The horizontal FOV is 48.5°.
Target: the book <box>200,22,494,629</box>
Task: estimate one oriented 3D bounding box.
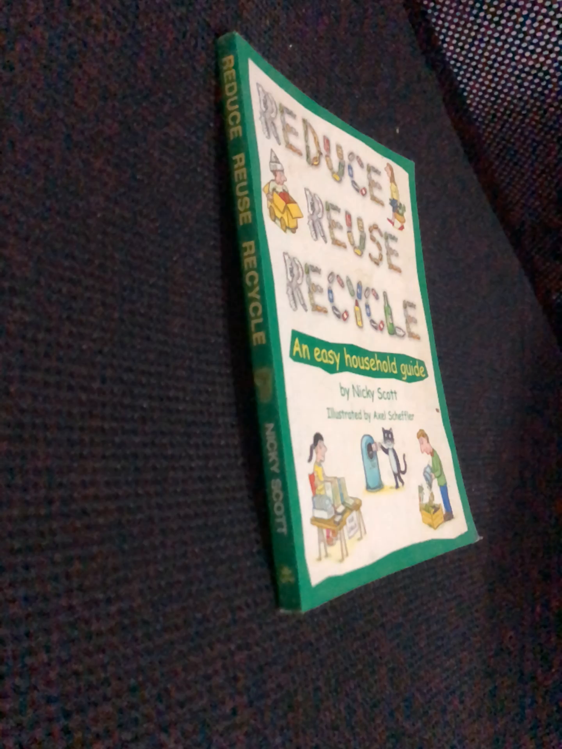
[{"bbox_3d":[0.032,-0.015,0.229,0.131,0.018,0.173,6,74,-52],"label":"book"}]
